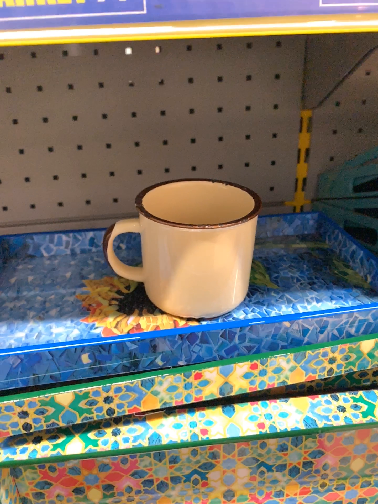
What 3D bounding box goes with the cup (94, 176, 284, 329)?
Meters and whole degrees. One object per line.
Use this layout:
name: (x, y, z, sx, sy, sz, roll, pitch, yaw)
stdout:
cup: (-0.004, -0.006, 0.281, 0.110, 0.070, 0.090, -4, 26, -6)
